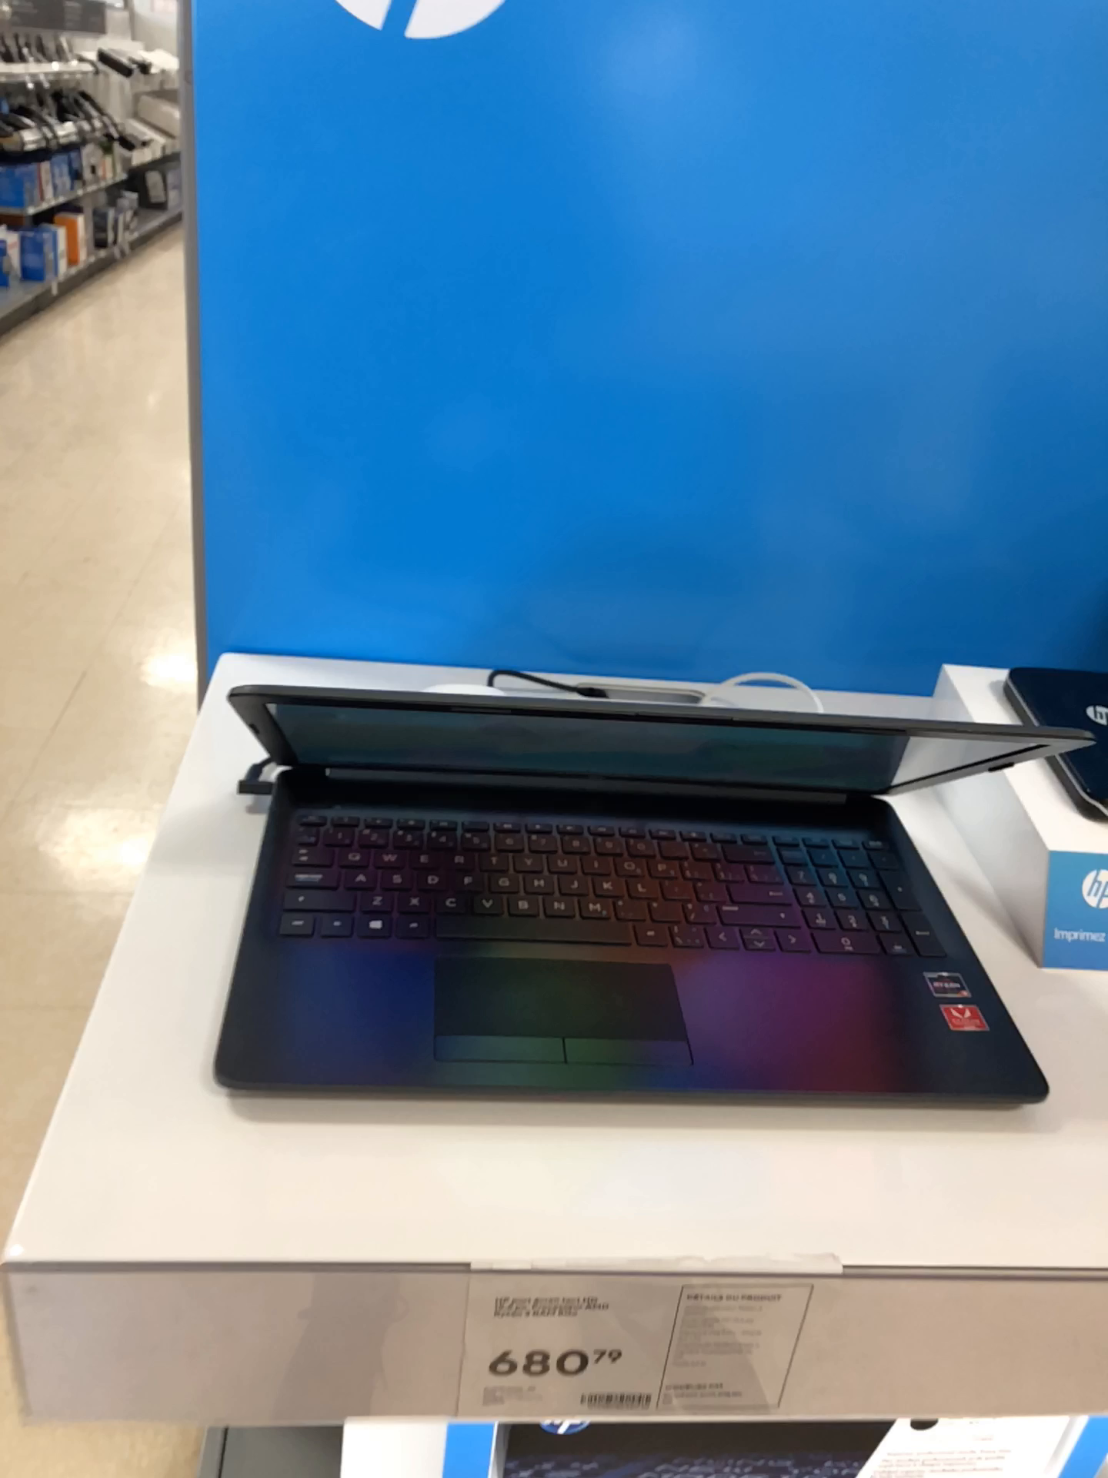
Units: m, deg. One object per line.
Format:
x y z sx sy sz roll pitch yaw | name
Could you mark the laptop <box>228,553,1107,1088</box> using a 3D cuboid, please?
0.039 0.030 0.593 0.355 0.130 0.243 4 28 -10 | laptop
